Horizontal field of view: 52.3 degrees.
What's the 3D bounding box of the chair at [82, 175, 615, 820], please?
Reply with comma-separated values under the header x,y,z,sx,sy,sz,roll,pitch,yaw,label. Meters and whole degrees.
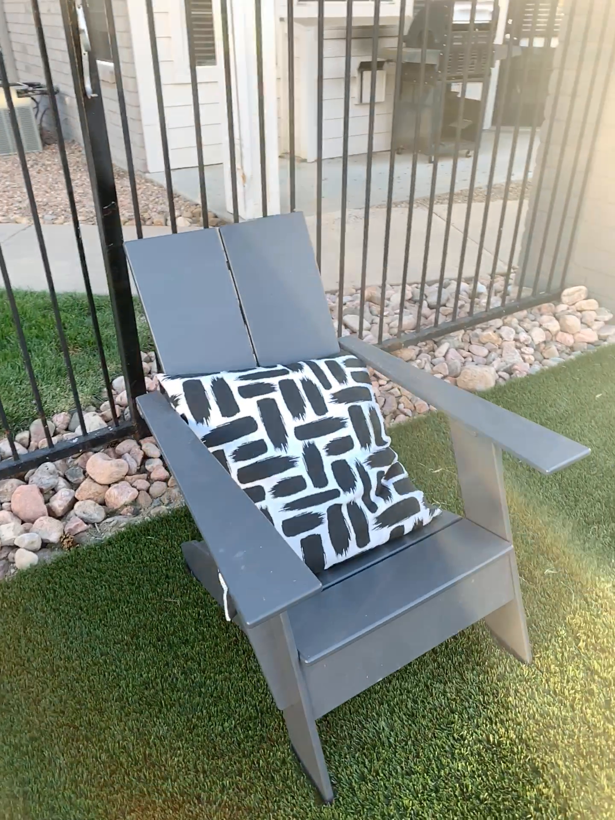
x,y,z,sx,sy,sz,roll,pitch,yaw,label
0.044,0.057,1.281,0.621,0.806,0.883,-18,36,-26,chair
